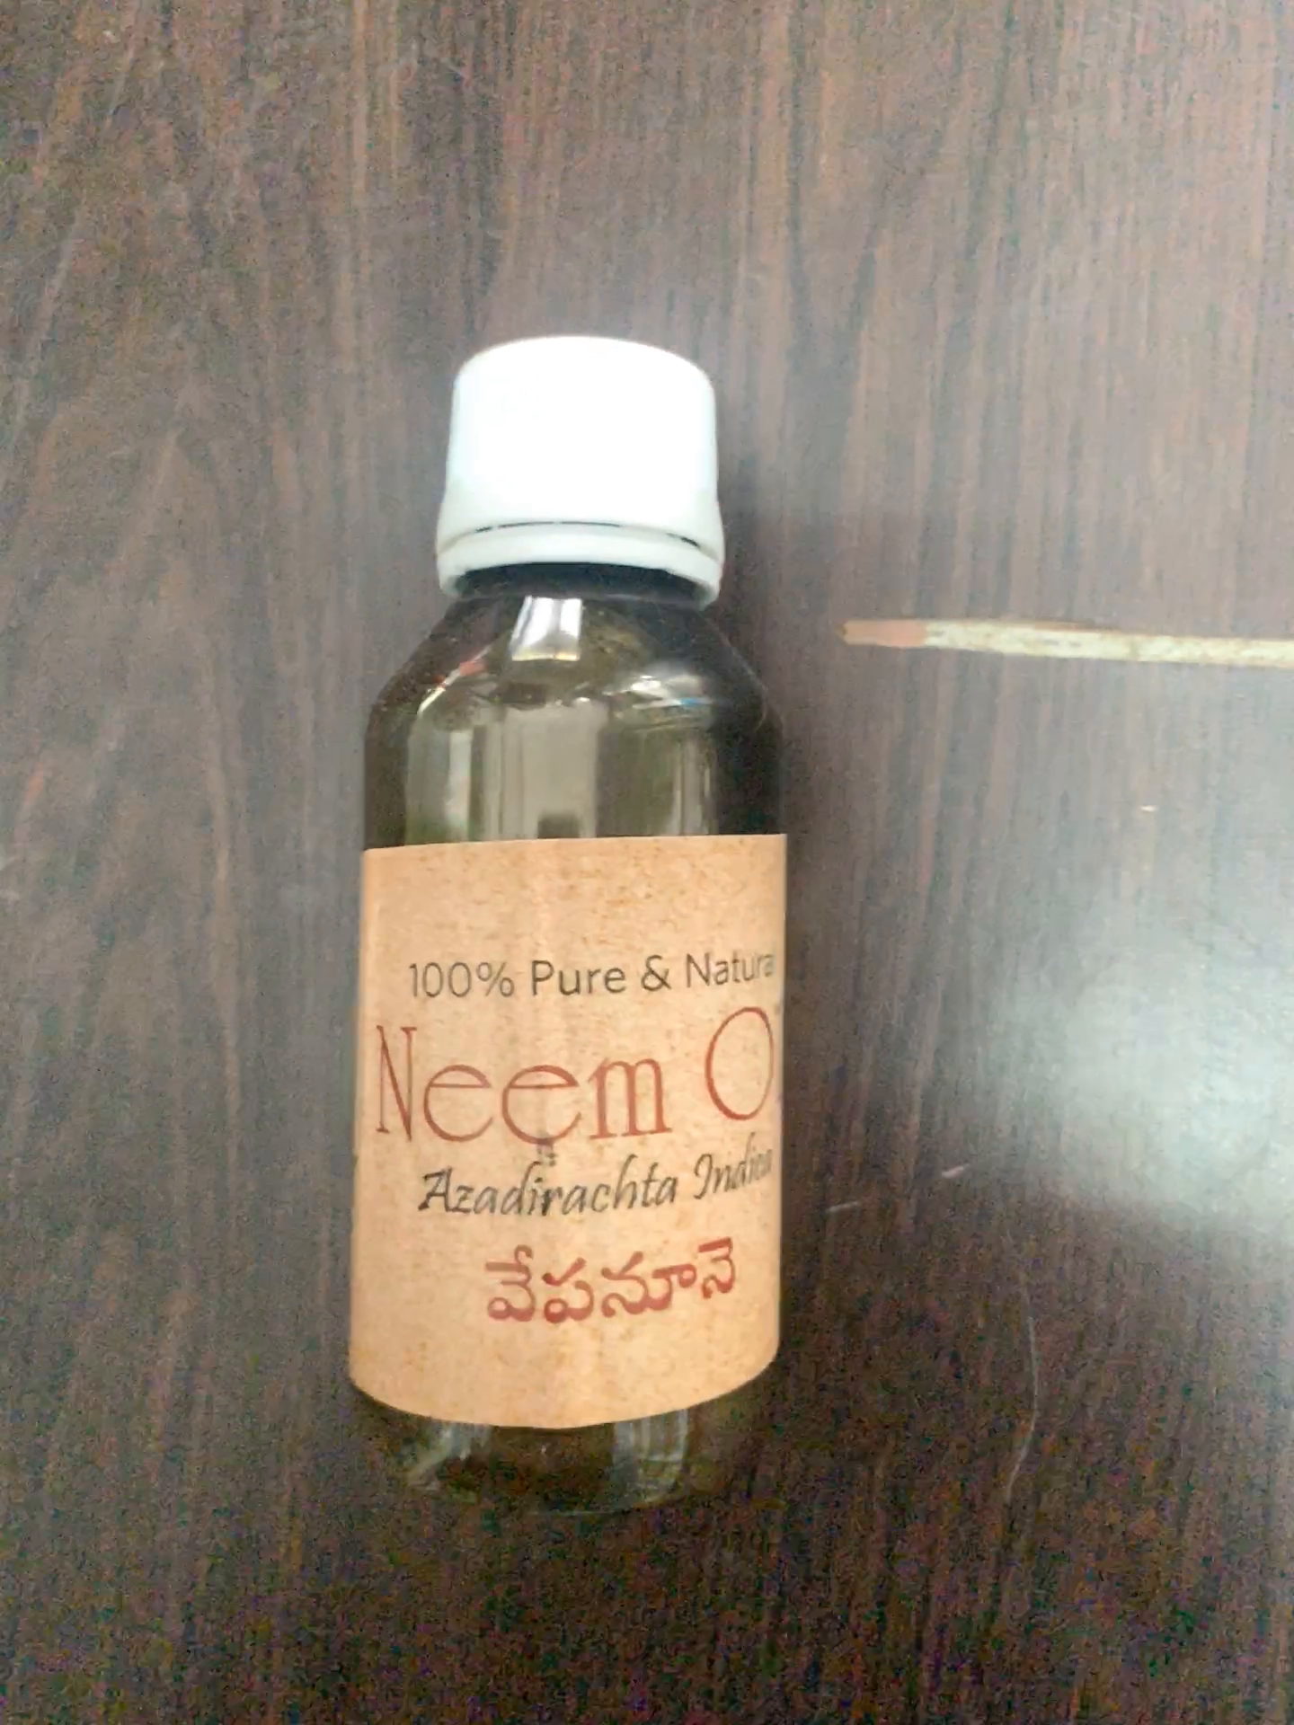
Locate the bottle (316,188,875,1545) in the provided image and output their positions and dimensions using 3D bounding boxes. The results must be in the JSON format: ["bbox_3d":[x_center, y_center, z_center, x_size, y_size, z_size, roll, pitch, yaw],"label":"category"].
[{"bbox_3d":[-0.007,0.000,0.145,0.050,0.040,0.120,0,87,-8],"label":"bottle"}]
